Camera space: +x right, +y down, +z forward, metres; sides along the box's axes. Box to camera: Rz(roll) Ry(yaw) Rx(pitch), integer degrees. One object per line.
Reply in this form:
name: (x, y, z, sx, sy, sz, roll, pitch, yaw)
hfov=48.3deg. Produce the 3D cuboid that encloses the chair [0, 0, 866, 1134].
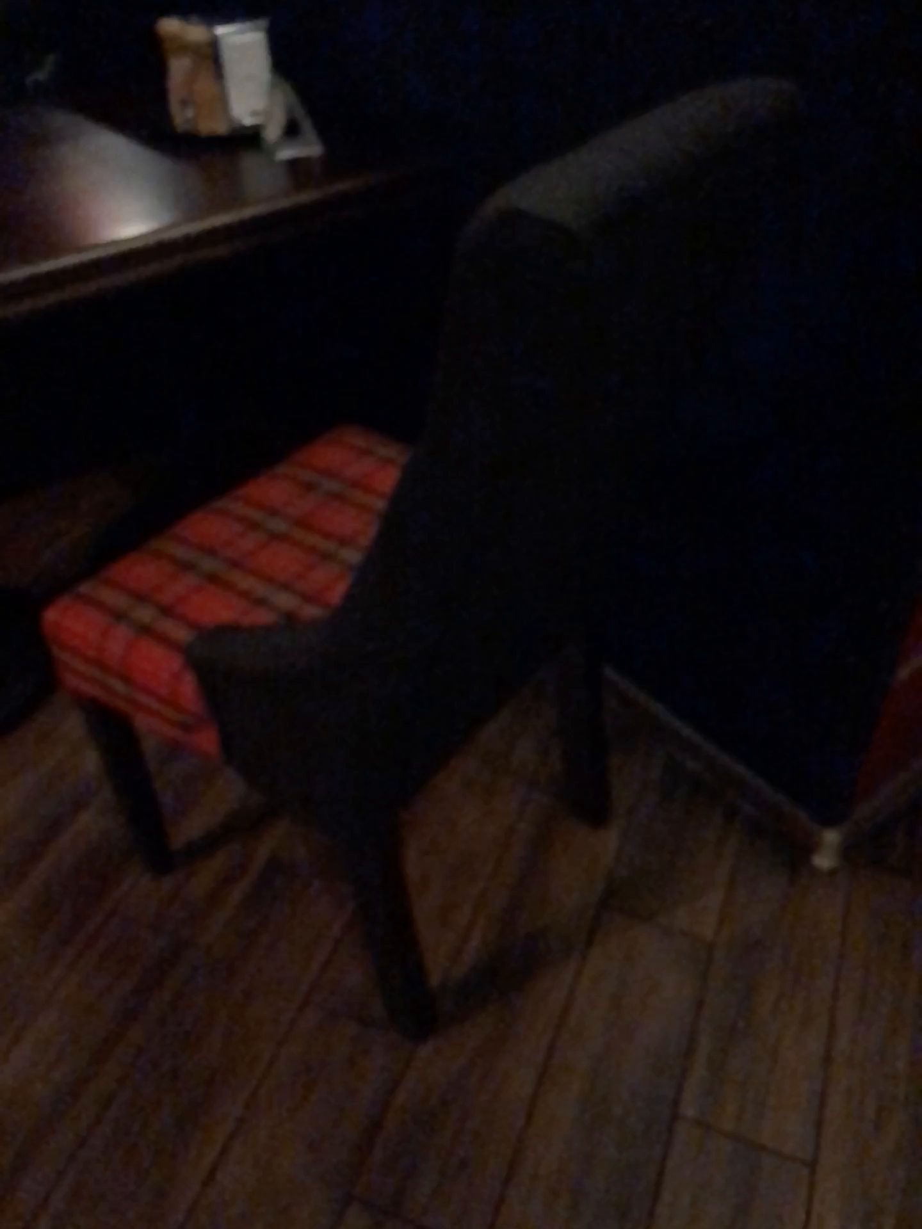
chair: (-0.056, -0.064, 1.131, 0.611, 1.003, 0.523, 24, 46, 29)
